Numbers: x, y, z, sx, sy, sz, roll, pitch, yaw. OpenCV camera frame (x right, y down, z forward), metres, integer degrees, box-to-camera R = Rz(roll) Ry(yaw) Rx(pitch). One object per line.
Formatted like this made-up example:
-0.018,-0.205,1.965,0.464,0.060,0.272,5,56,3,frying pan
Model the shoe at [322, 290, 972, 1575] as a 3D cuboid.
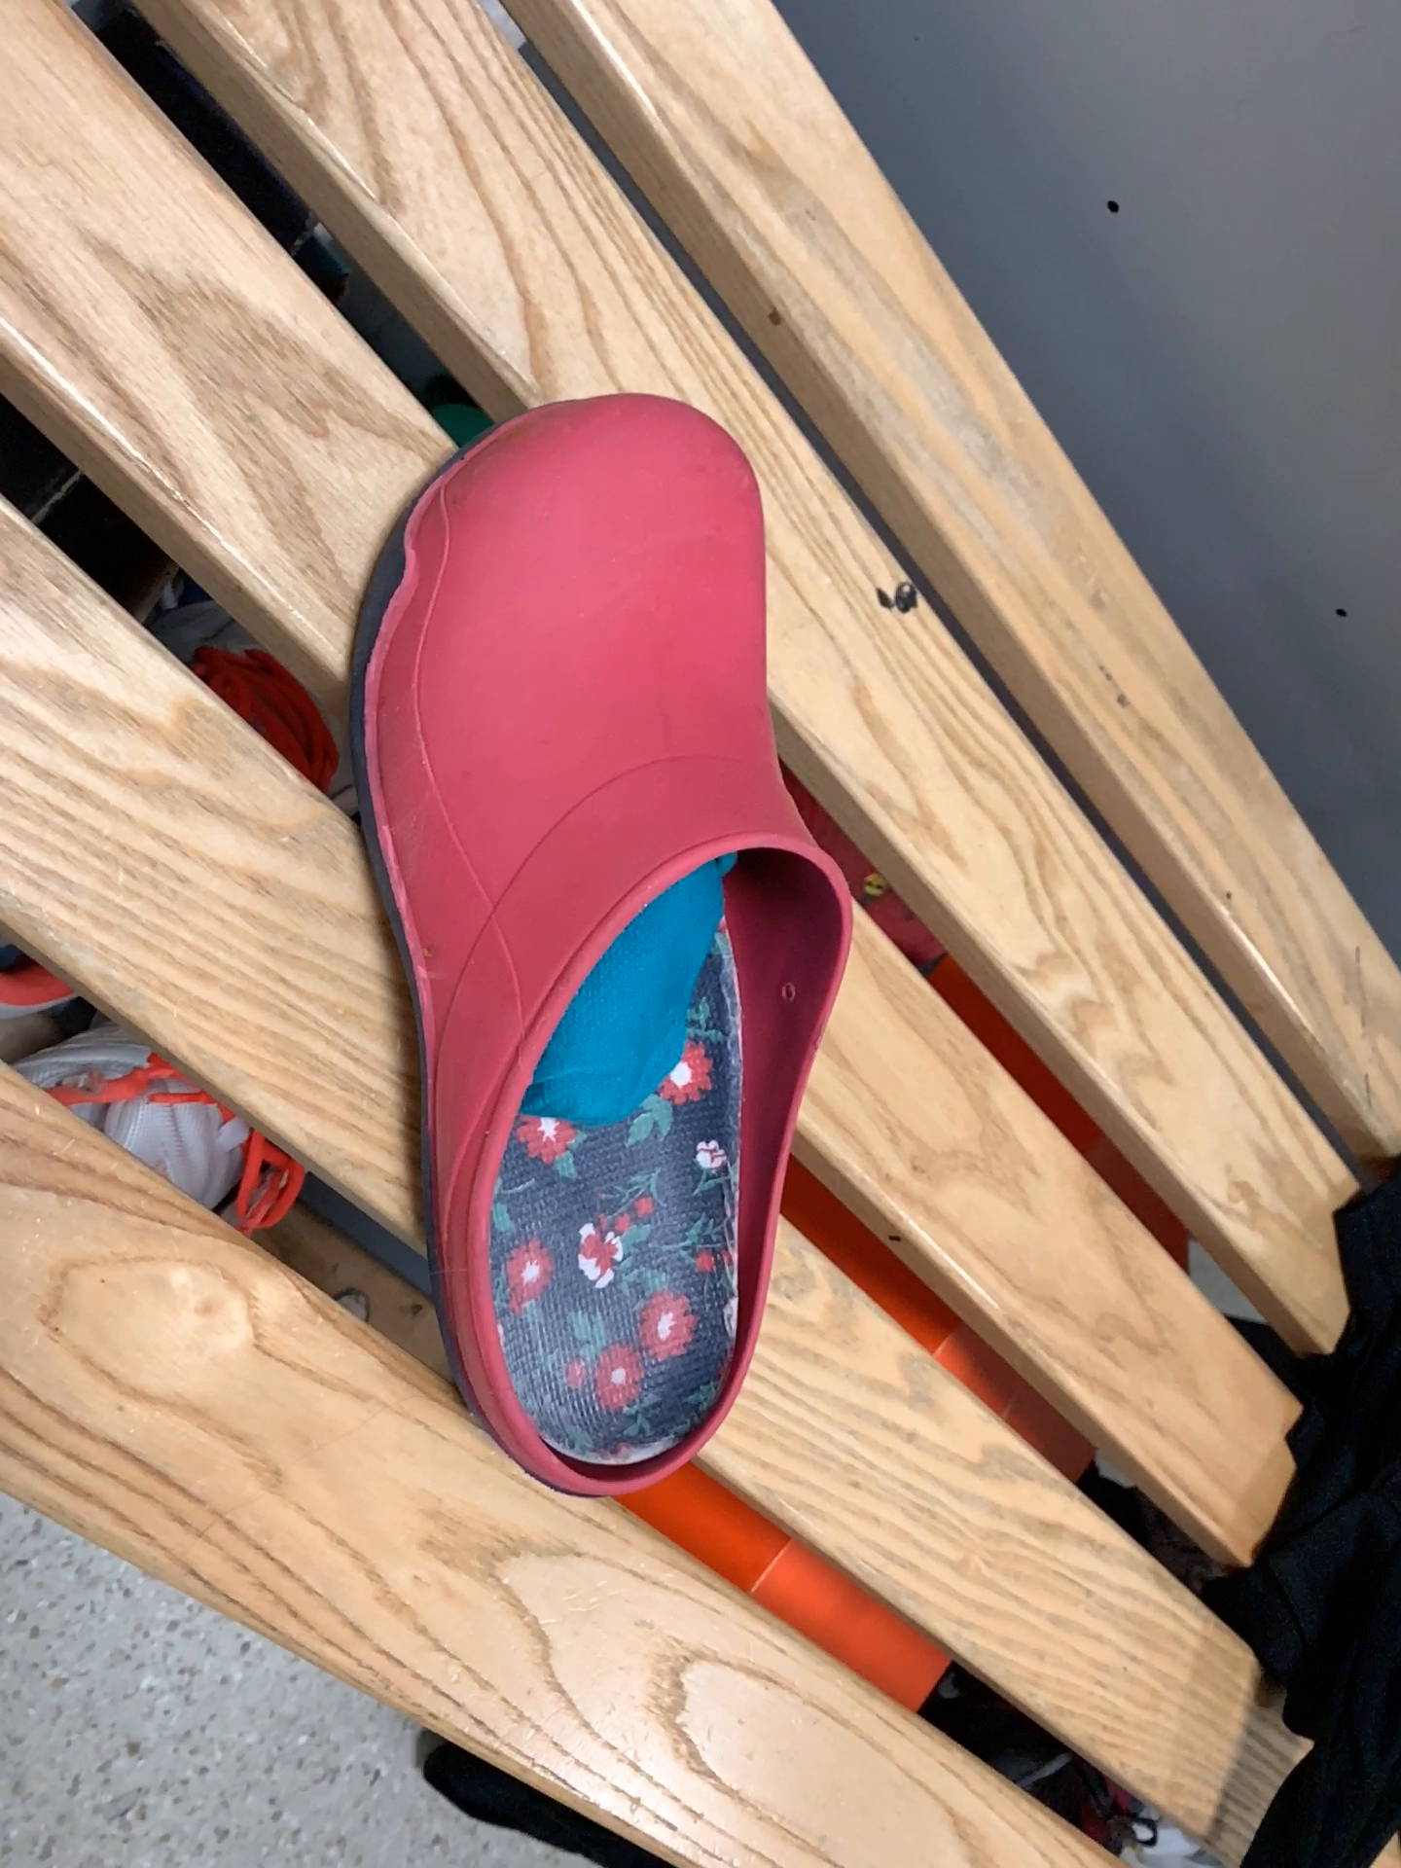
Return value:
-0.011,-0.002,0.329,0.107,0.076,0.238,-5,92,-37,shoe
